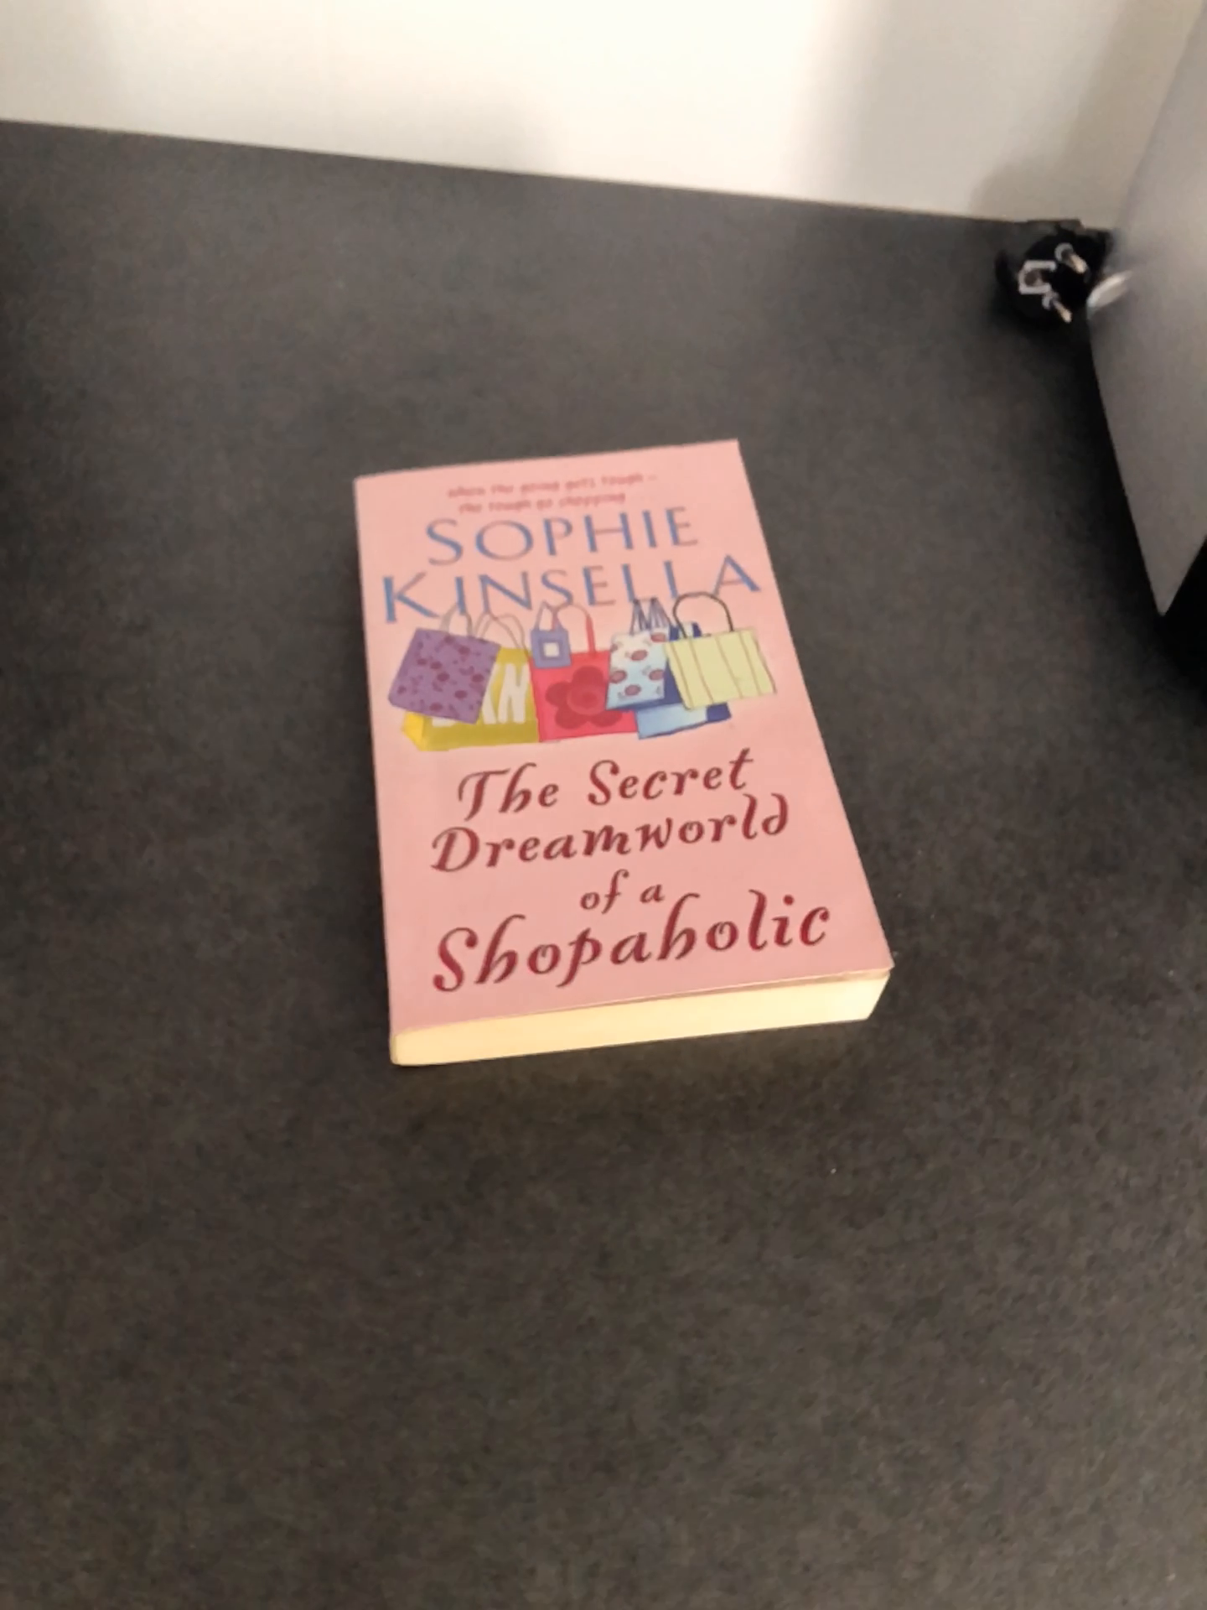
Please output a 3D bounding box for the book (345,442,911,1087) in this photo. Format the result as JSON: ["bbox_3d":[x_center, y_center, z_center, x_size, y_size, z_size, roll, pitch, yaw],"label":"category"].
[{"bbox_3d":[-0.004,-0.025,0.395,0.130,0.030,0.201,-5,56,-9],"label":"book"}]
